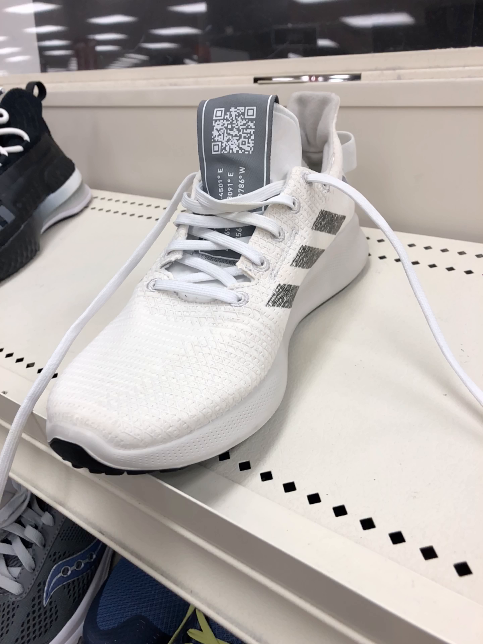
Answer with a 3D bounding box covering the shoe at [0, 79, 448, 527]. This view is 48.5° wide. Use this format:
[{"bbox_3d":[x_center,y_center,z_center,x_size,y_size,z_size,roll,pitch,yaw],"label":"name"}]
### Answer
[{"bbox_3d":[0.015,-0.074,0.340,0.128,0.139,0.382,12,28,29],"label":"shoe"}]
